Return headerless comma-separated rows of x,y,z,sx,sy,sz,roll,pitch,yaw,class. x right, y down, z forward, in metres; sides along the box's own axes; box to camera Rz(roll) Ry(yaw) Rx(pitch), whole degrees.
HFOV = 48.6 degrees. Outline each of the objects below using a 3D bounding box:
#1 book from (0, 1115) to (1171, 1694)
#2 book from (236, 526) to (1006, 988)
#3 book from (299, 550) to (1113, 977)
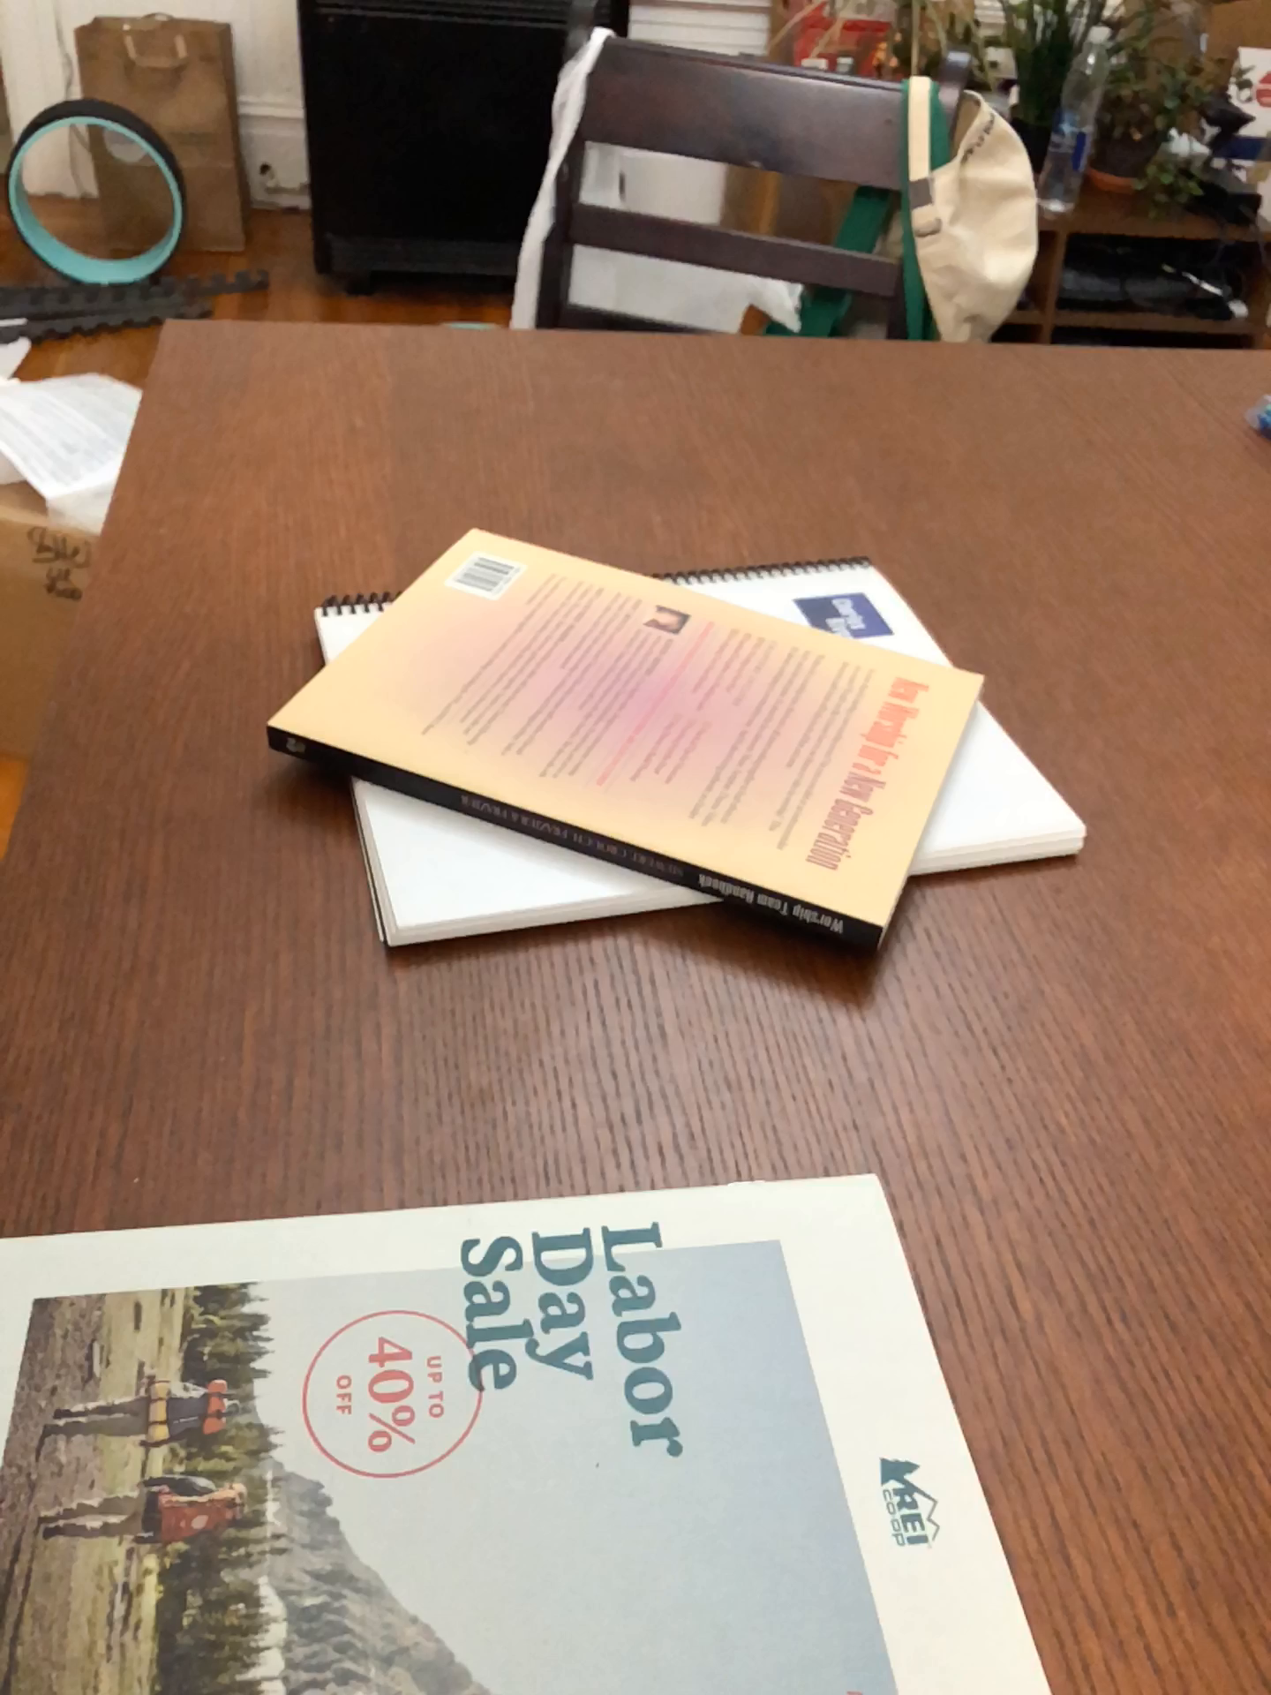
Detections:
-0.042,0.155,0.336,0.270,0.010,0.201,-2,40,-10,book
0.004,-0.053,0.577,0.260,0.020,0.191,18,41,14,book
0.017,-0.054,0.607,0.290,0.020,0.231,-8,41,-16,book
